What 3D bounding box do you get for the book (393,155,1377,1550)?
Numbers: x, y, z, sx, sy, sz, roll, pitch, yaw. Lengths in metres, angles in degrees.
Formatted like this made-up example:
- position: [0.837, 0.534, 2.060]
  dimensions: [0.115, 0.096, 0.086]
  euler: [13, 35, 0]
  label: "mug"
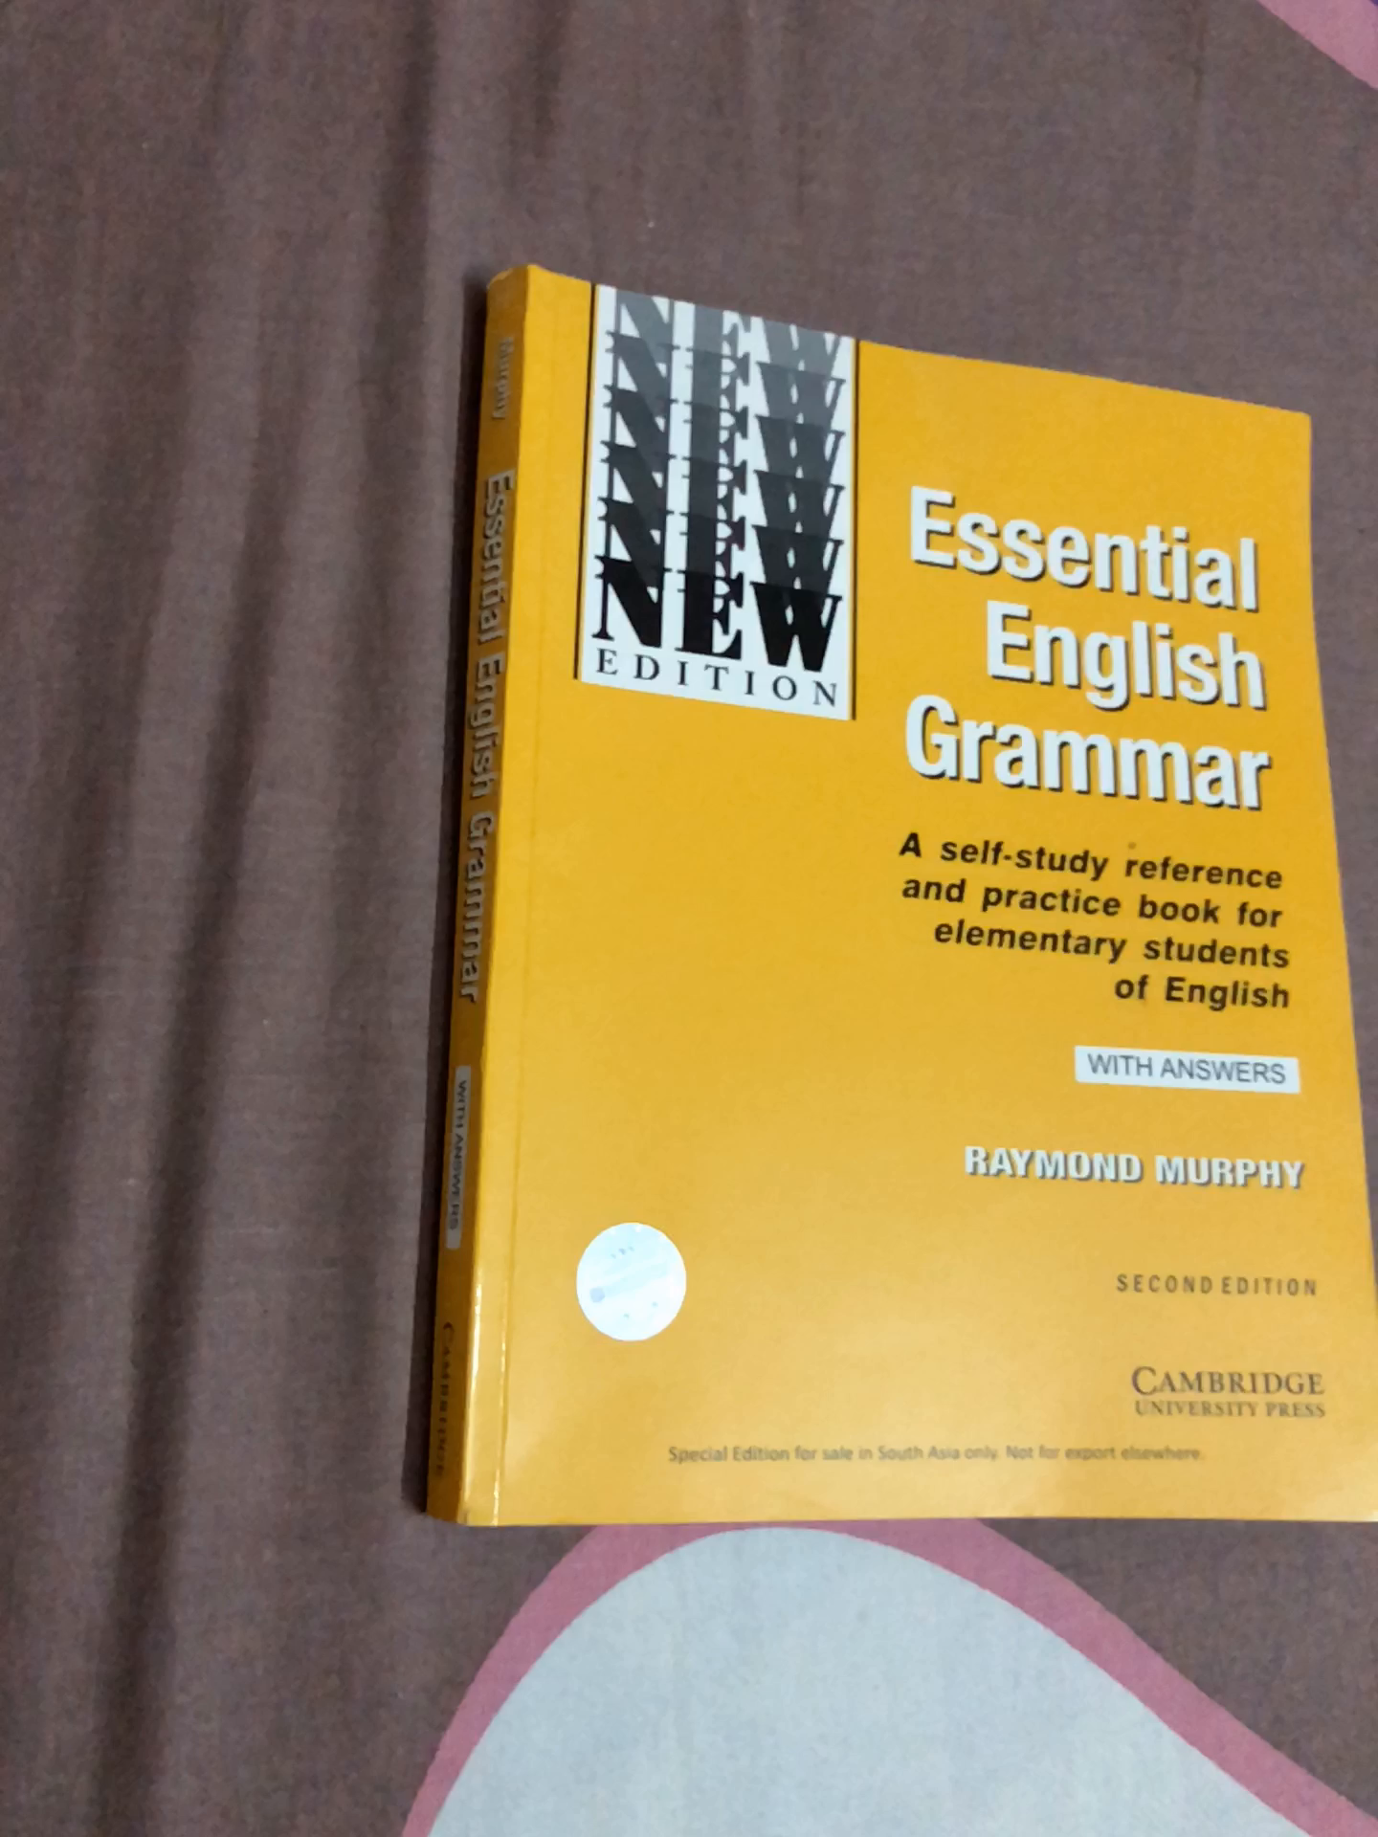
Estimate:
- position: [0.048, -0.012, 0.308]
  dimensions: [0.190, 0.040, 0.250]
  euler: [6, 75, -16]
  label: "book"
